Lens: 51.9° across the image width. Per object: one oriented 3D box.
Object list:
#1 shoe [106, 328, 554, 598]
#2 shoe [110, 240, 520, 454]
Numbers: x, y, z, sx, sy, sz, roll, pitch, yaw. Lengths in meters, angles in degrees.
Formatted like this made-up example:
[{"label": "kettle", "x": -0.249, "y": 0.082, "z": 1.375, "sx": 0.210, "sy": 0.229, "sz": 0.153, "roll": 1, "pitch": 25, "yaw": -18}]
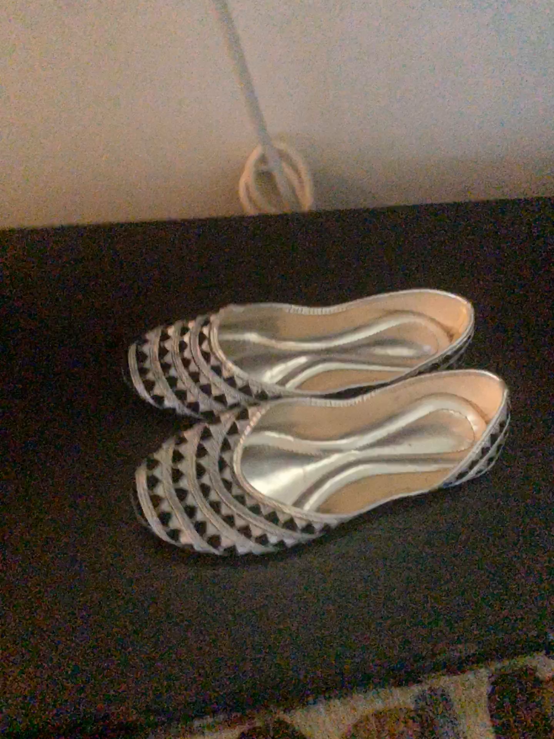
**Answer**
[{"label": "shoe", "x": 0.039, "y": 0.055, "z": 0.370, "sx": 0.270, "sy": 0.069, "sz": 0.096, "roll": -11, "pitch": 58, "yaw": -12}, {"label": "shoe", "x": 0.024, "y": -0.021, "z": 0.423, "sx": 0.270, "sy": 0.069, "sz": 0.096, "roll": -10, "pitch": 57, "yaw": -11}]
